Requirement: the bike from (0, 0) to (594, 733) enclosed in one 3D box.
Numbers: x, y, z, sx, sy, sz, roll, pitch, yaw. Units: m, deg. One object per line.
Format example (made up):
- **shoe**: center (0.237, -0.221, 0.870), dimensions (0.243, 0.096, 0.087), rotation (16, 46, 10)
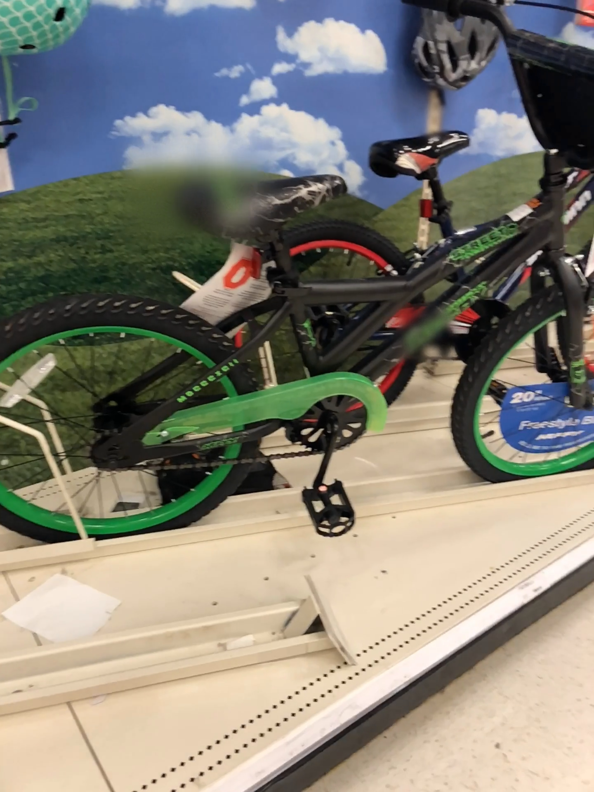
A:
- **bike**: center (0.123, -0.196, 1.081), dimensions (1.363, 0.879, 0.630), rotation (-7, 27, -15)
